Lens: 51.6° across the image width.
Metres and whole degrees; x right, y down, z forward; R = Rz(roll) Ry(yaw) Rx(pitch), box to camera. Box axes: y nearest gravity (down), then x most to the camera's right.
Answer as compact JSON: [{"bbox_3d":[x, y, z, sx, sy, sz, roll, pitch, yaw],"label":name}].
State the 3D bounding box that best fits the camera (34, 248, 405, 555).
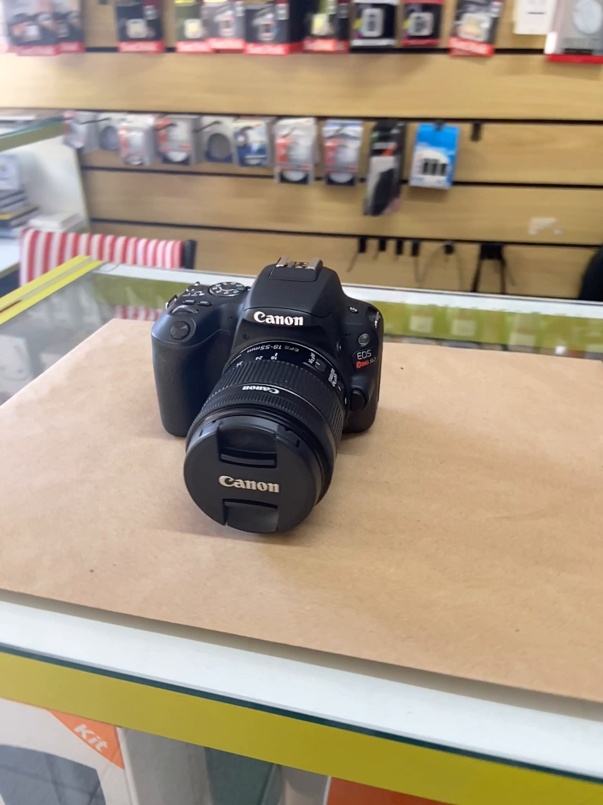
[{"bbox_3d":[-0.023,-0.011,0.307,0.140,0.089,0.131,3,30,7],"label":"camera"}]
